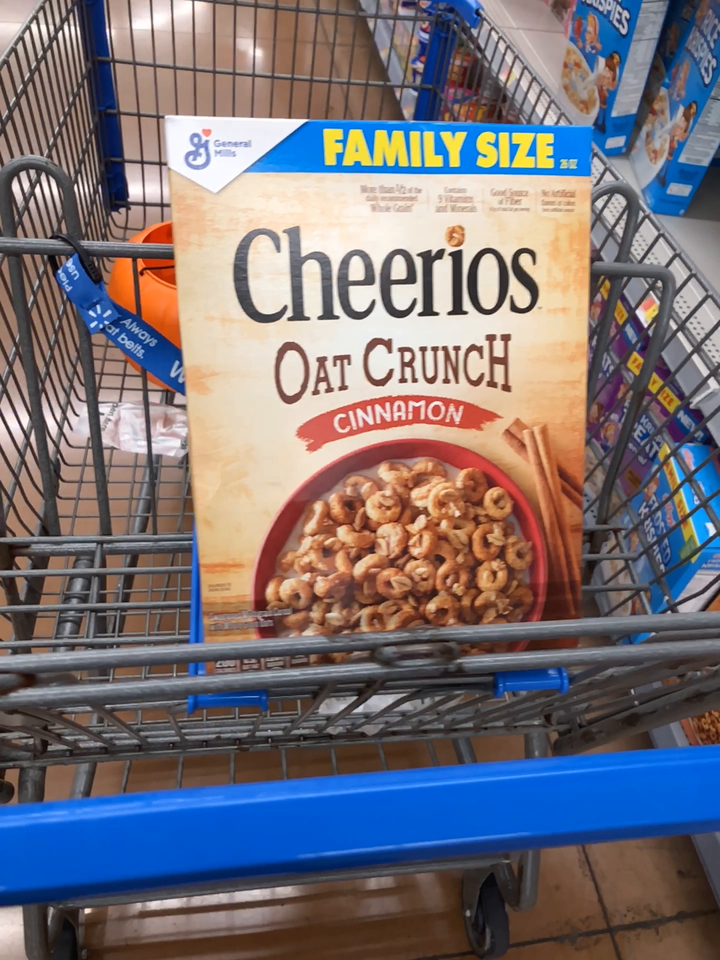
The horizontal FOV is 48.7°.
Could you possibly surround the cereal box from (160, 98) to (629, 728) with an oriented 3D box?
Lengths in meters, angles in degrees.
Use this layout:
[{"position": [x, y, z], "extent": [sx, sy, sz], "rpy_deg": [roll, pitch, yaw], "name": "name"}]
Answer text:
[{"position": [0.020, -0.038, 0.481], "extent": [0.250, 0.330, 0.080], "rpy_deg": [-4, 13, -13], "name": "cereal box"}]
